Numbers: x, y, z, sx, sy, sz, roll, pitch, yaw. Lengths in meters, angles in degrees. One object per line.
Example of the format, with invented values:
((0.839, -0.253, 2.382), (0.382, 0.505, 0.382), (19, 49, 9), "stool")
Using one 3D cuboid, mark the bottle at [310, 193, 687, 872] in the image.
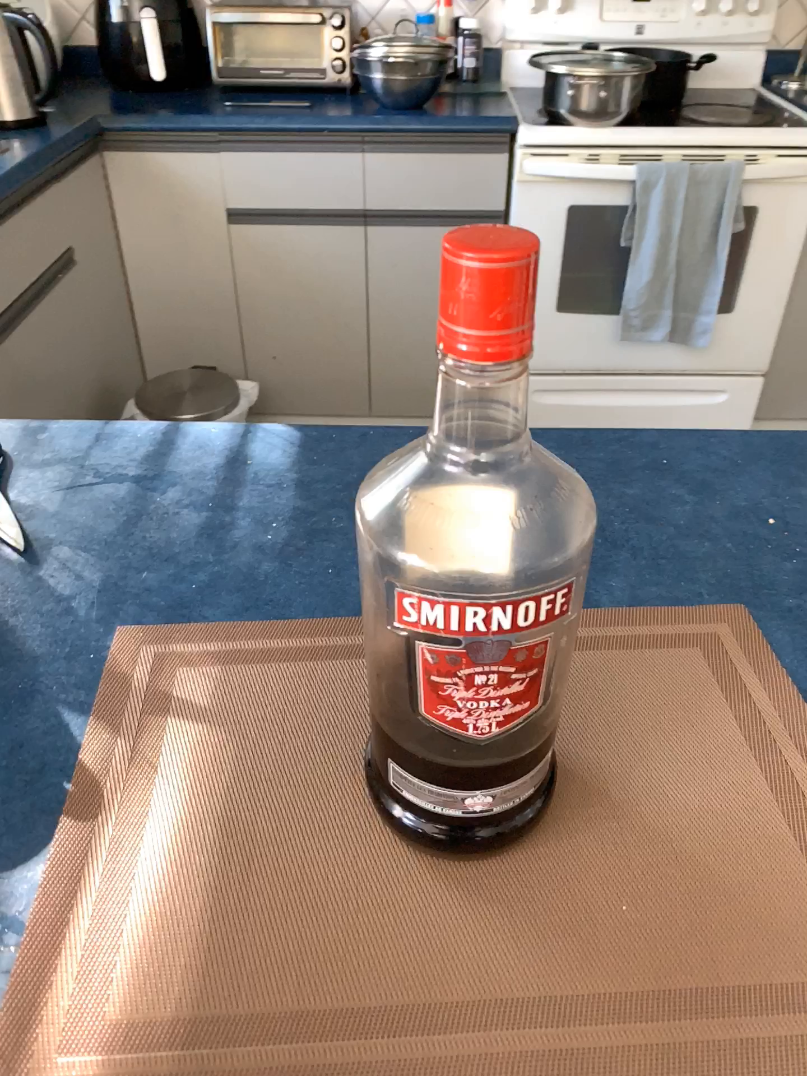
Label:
((0.027, 0.016, 0.399), (0.120, 0.317, 0.111), (0, 36, 0), "bottle")
